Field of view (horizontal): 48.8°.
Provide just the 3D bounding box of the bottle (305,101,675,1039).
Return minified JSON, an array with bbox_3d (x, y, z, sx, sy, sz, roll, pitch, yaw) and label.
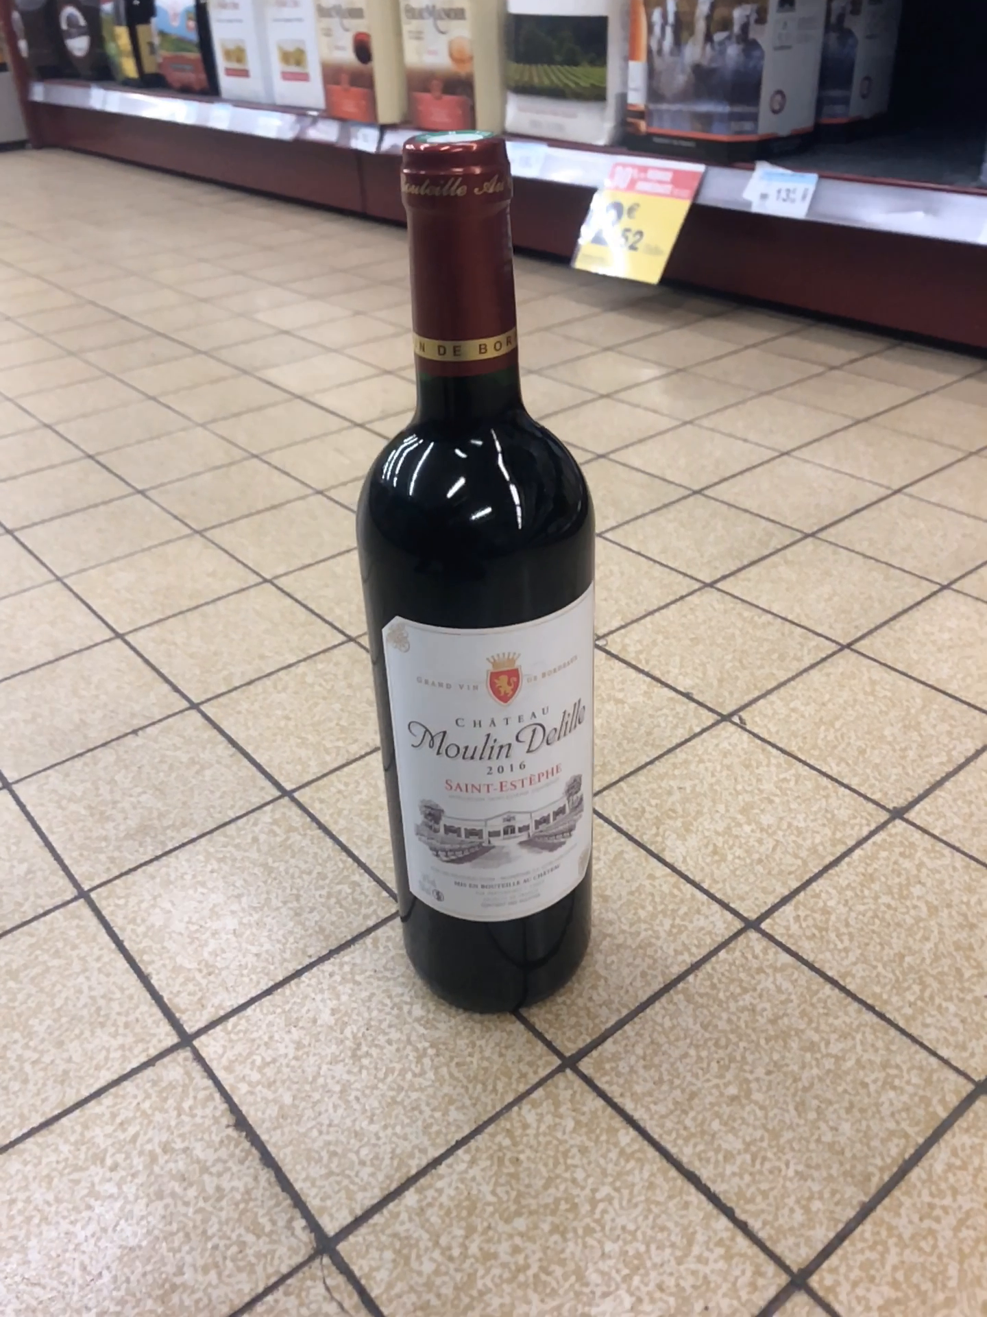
[{"bbox_3d":[0.000,-0.013,0.344,0.080,0.281,0.080,-2,31,1],"label":"bottle"}]
